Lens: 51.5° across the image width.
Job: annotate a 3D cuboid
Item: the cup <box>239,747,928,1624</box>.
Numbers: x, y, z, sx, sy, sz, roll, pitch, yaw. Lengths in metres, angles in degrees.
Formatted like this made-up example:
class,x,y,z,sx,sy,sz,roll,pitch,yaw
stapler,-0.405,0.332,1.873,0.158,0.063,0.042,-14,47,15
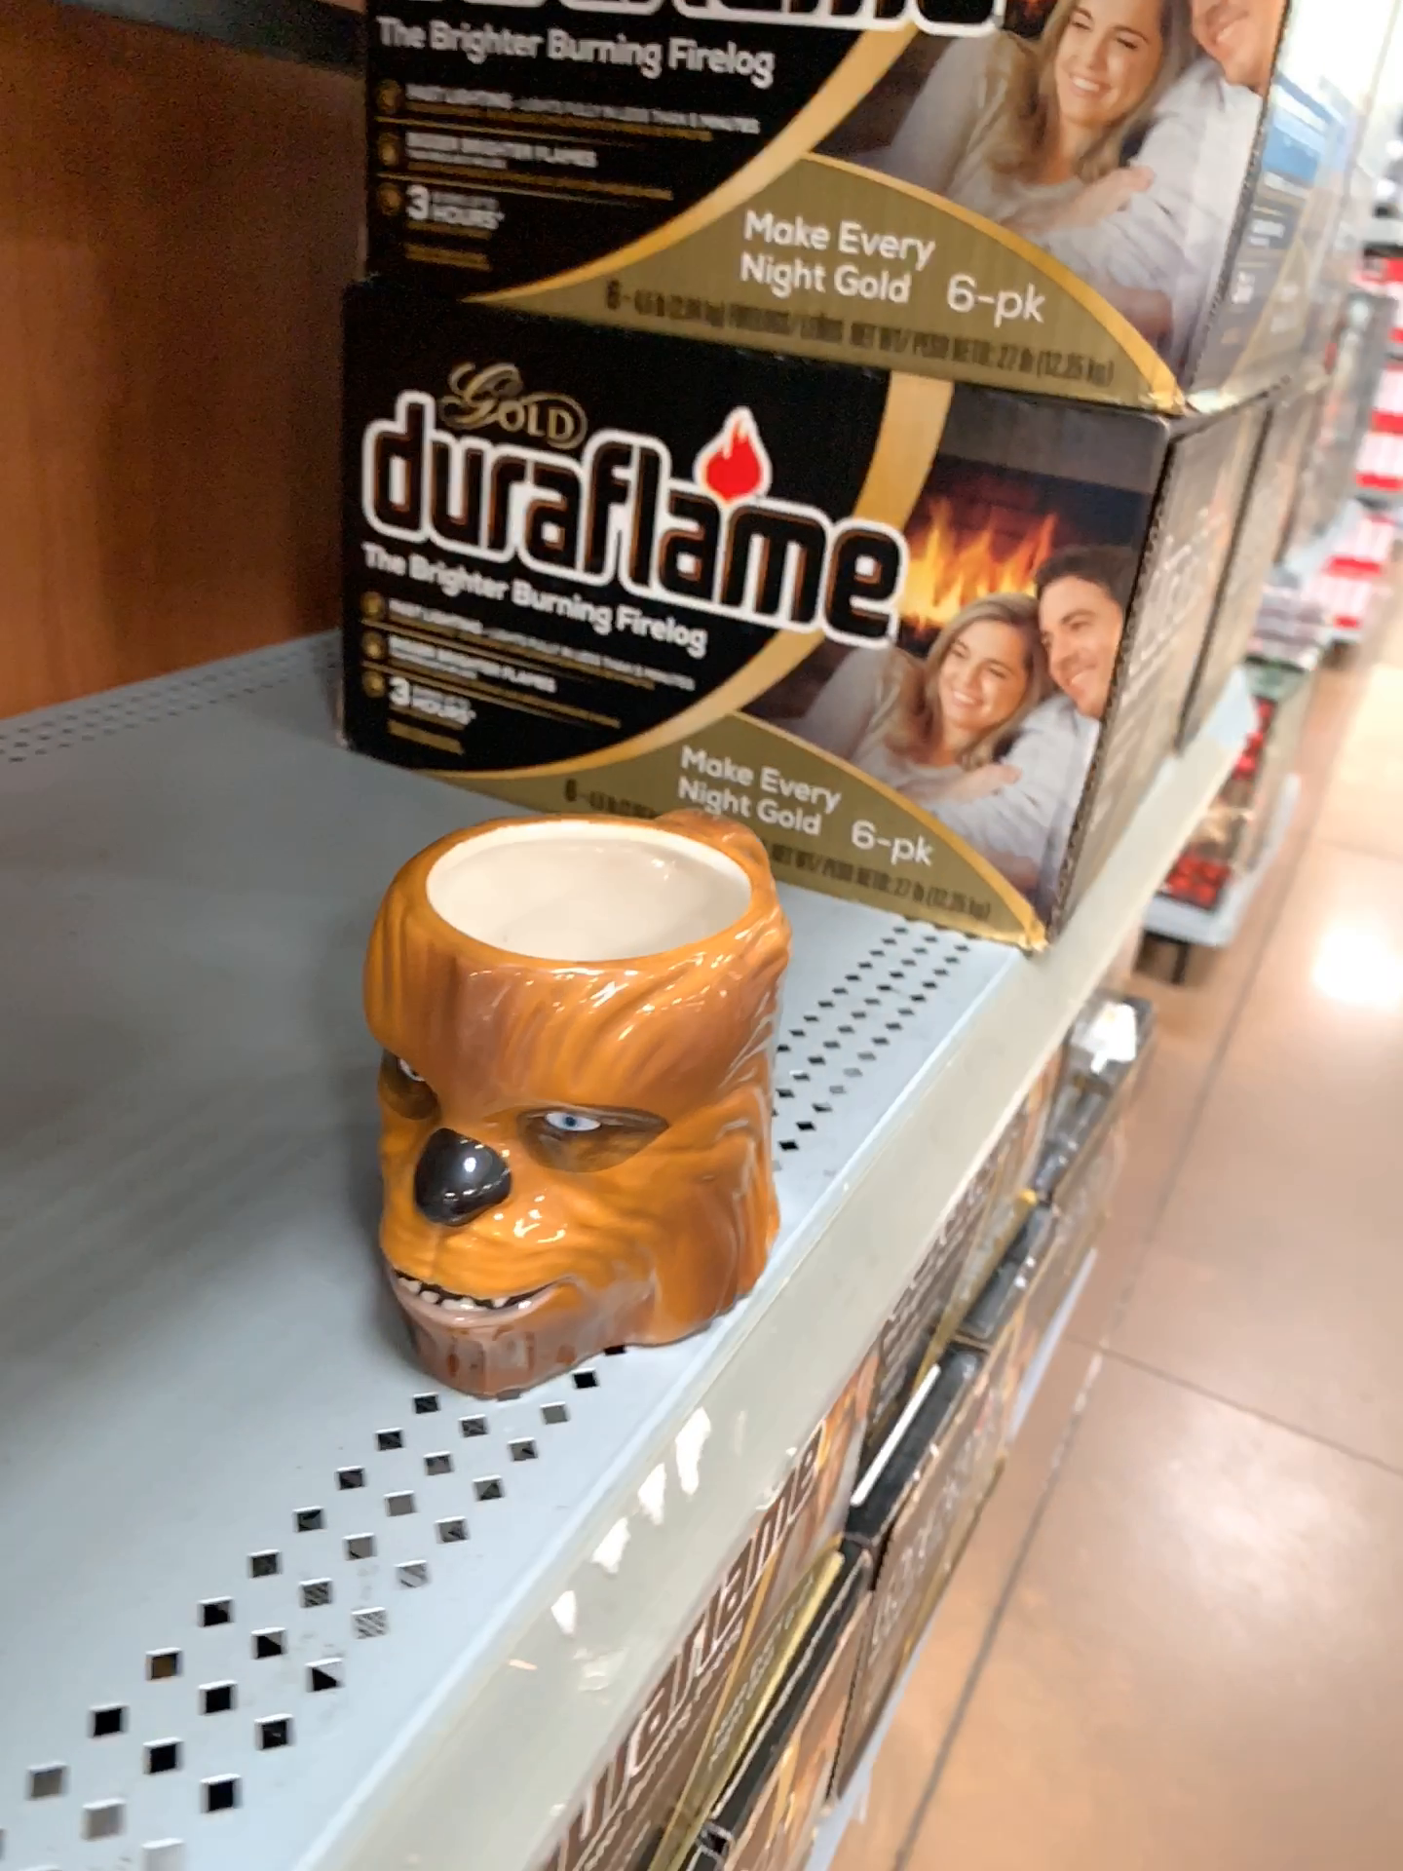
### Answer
class,x,y,z,sx,sy,sz,roll,pitch,yaw
cup,-0.025,0.048,0.352,0.097,0.138,0.132,19,28,22
